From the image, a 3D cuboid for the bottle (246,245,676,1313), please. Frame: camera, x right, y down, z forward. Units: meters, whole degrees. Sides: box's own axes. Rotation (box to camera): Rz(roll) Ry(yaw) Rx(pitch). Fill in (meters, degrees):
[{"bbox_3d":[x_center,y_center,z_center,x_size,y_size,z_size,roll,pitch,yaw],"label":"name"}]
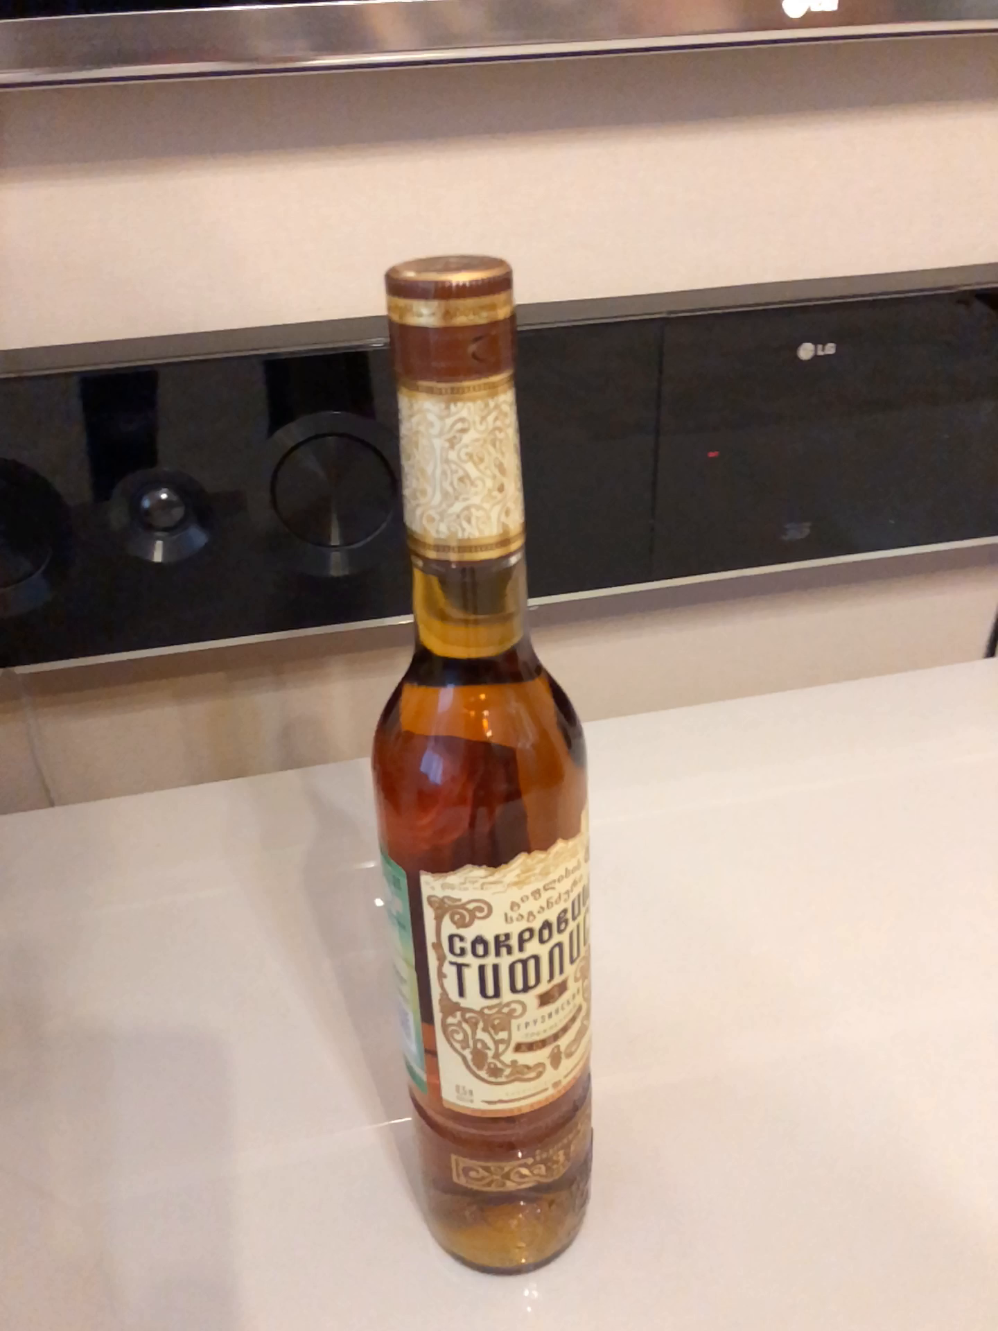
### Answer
[{"bbox_3d":[-0.003,0.048,0.321,0.070,0.308,0.070,-2,28,1],"label":"bottle"}]
